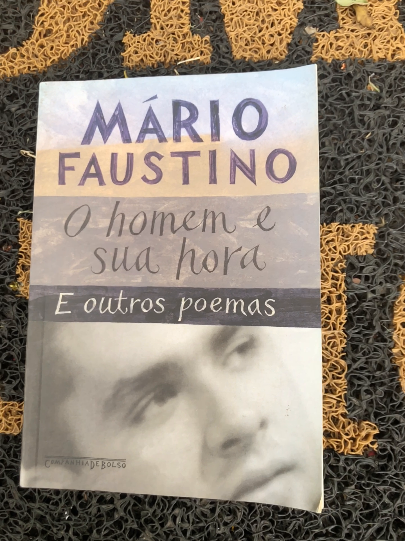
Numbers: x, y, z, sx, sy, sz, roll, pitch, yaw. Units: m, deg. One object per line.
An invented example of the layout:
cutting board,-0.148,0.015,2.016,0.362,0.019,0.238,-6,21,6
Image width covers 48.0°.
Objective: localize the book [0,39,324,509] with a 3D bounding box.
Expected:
book,-0.016,-0.003,0.186,0.124,0.020,0.174,0,84,8
